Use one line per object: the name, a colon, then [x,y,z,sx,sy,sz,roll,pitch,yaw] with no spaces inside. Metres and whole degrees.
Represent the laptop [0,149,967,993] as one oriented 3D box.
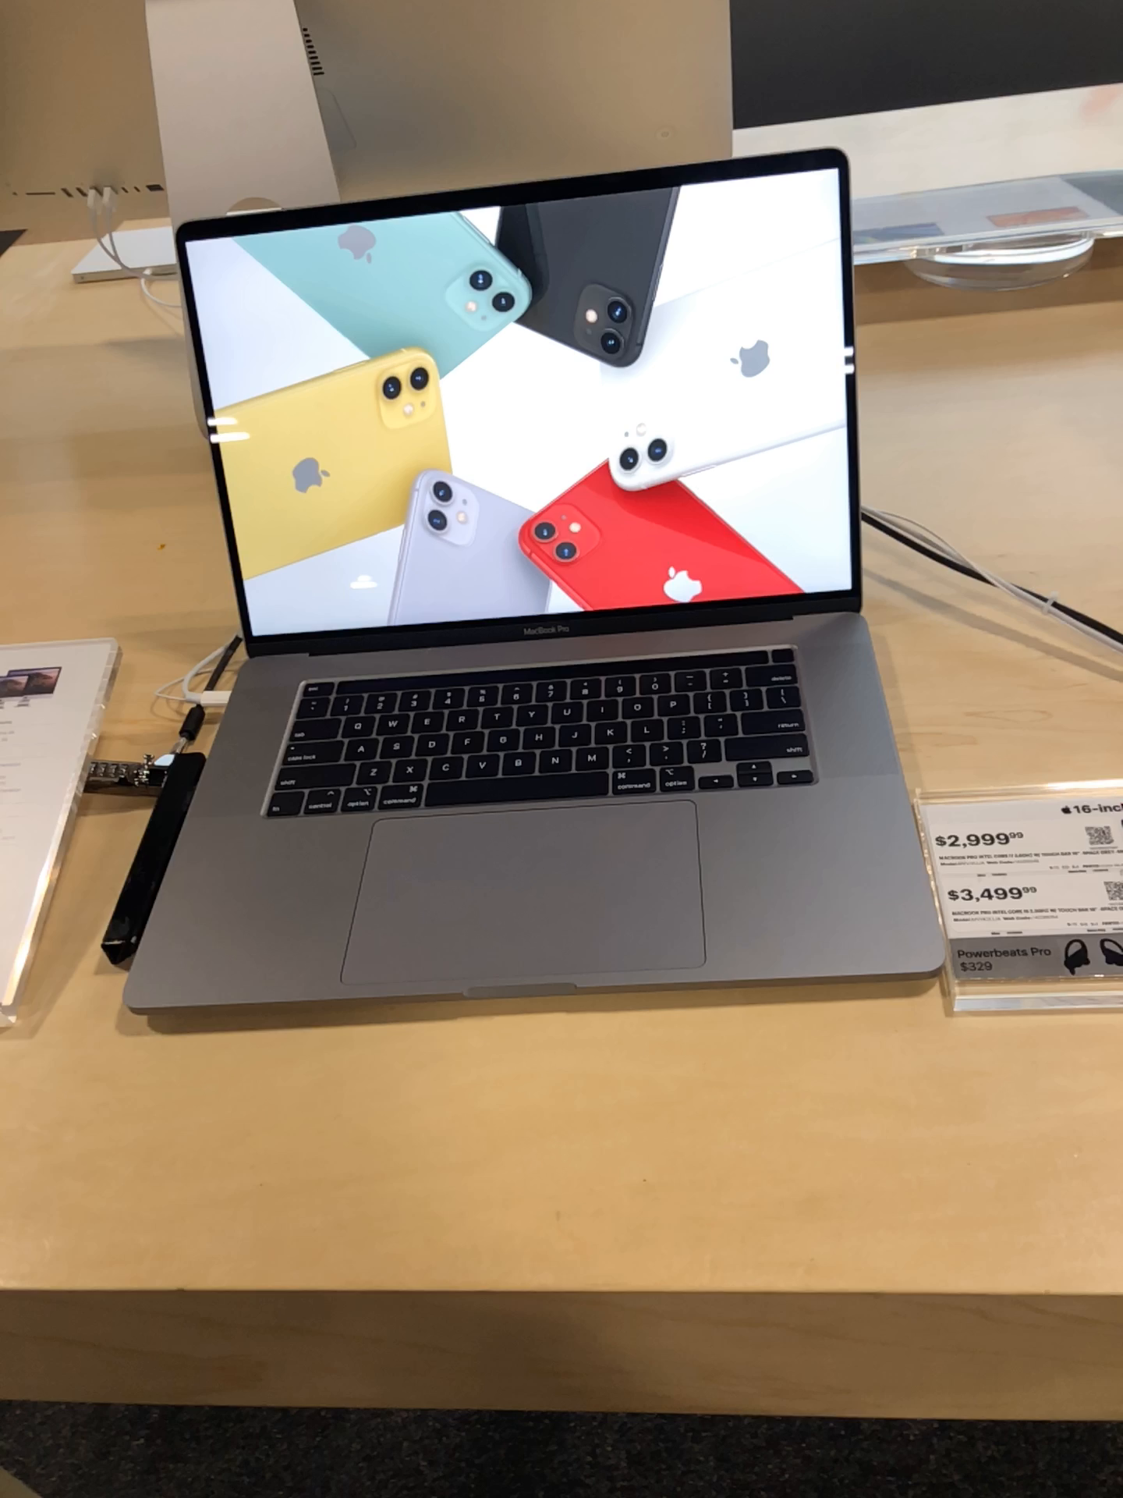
laptop: [-0.030,-0.095,0.580,0.336,0.204,0.350,-3,44,9]
